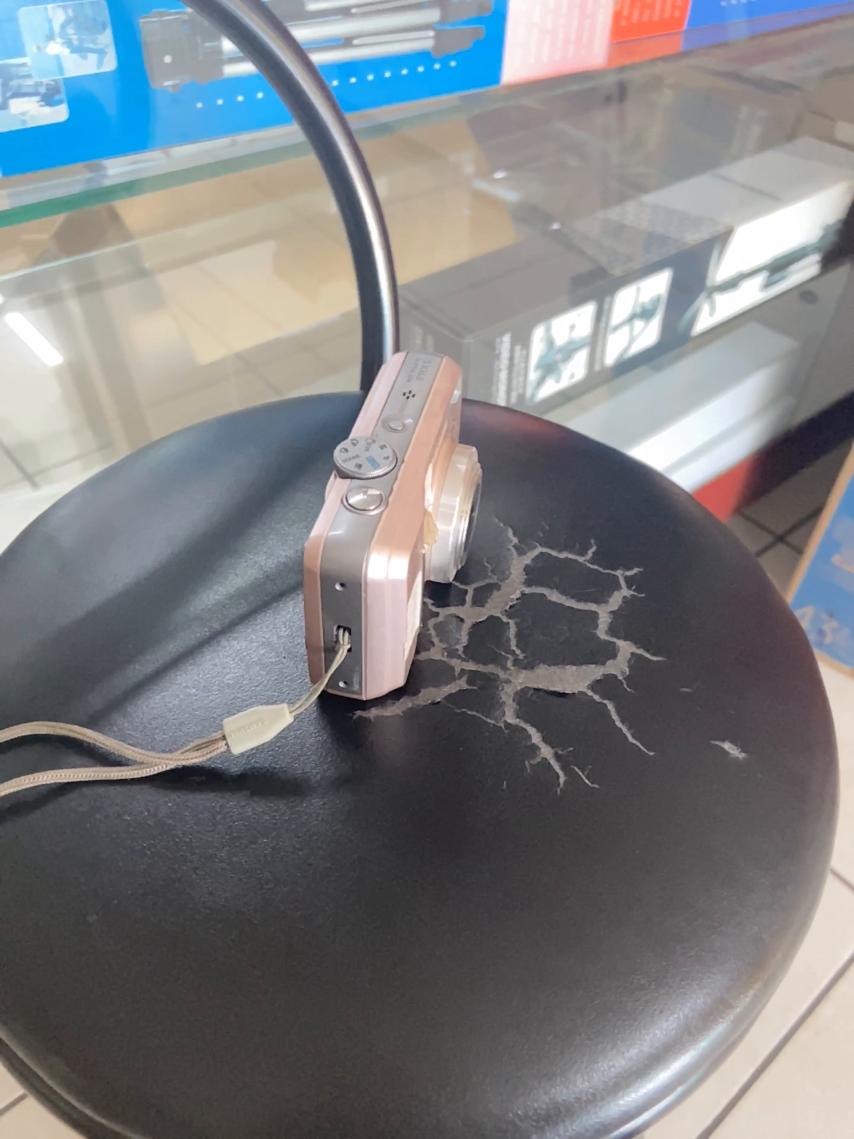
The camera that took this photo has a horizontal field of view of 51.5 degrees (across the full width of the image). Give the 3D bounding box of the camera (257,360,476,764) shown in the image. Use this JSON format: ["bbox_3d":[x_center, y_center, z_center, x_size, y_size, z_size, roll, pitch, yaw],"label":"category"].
[{"bbox_3d":[-0.014,-0.005,0.272,0.040,0.070,0.101,8,45,6],"label":"camera"}]
